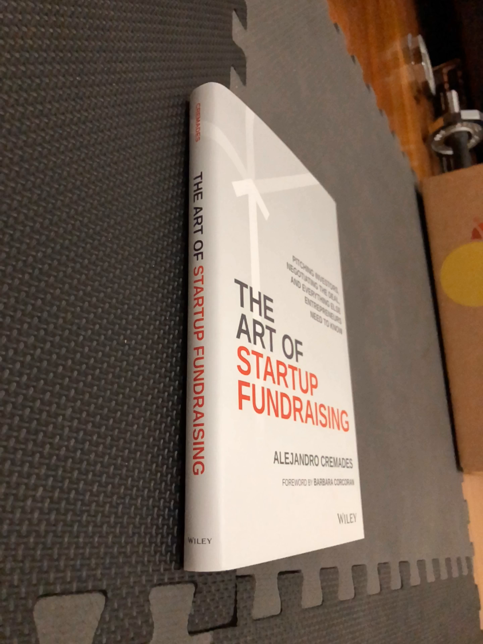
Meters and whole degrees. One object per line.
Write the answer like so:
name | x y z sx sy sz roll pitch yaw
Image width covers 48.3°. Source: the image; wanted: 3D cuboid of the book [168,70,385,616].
book | 0.027 0.014 0.312 0.171 0.030 0.250 27 56 -53
